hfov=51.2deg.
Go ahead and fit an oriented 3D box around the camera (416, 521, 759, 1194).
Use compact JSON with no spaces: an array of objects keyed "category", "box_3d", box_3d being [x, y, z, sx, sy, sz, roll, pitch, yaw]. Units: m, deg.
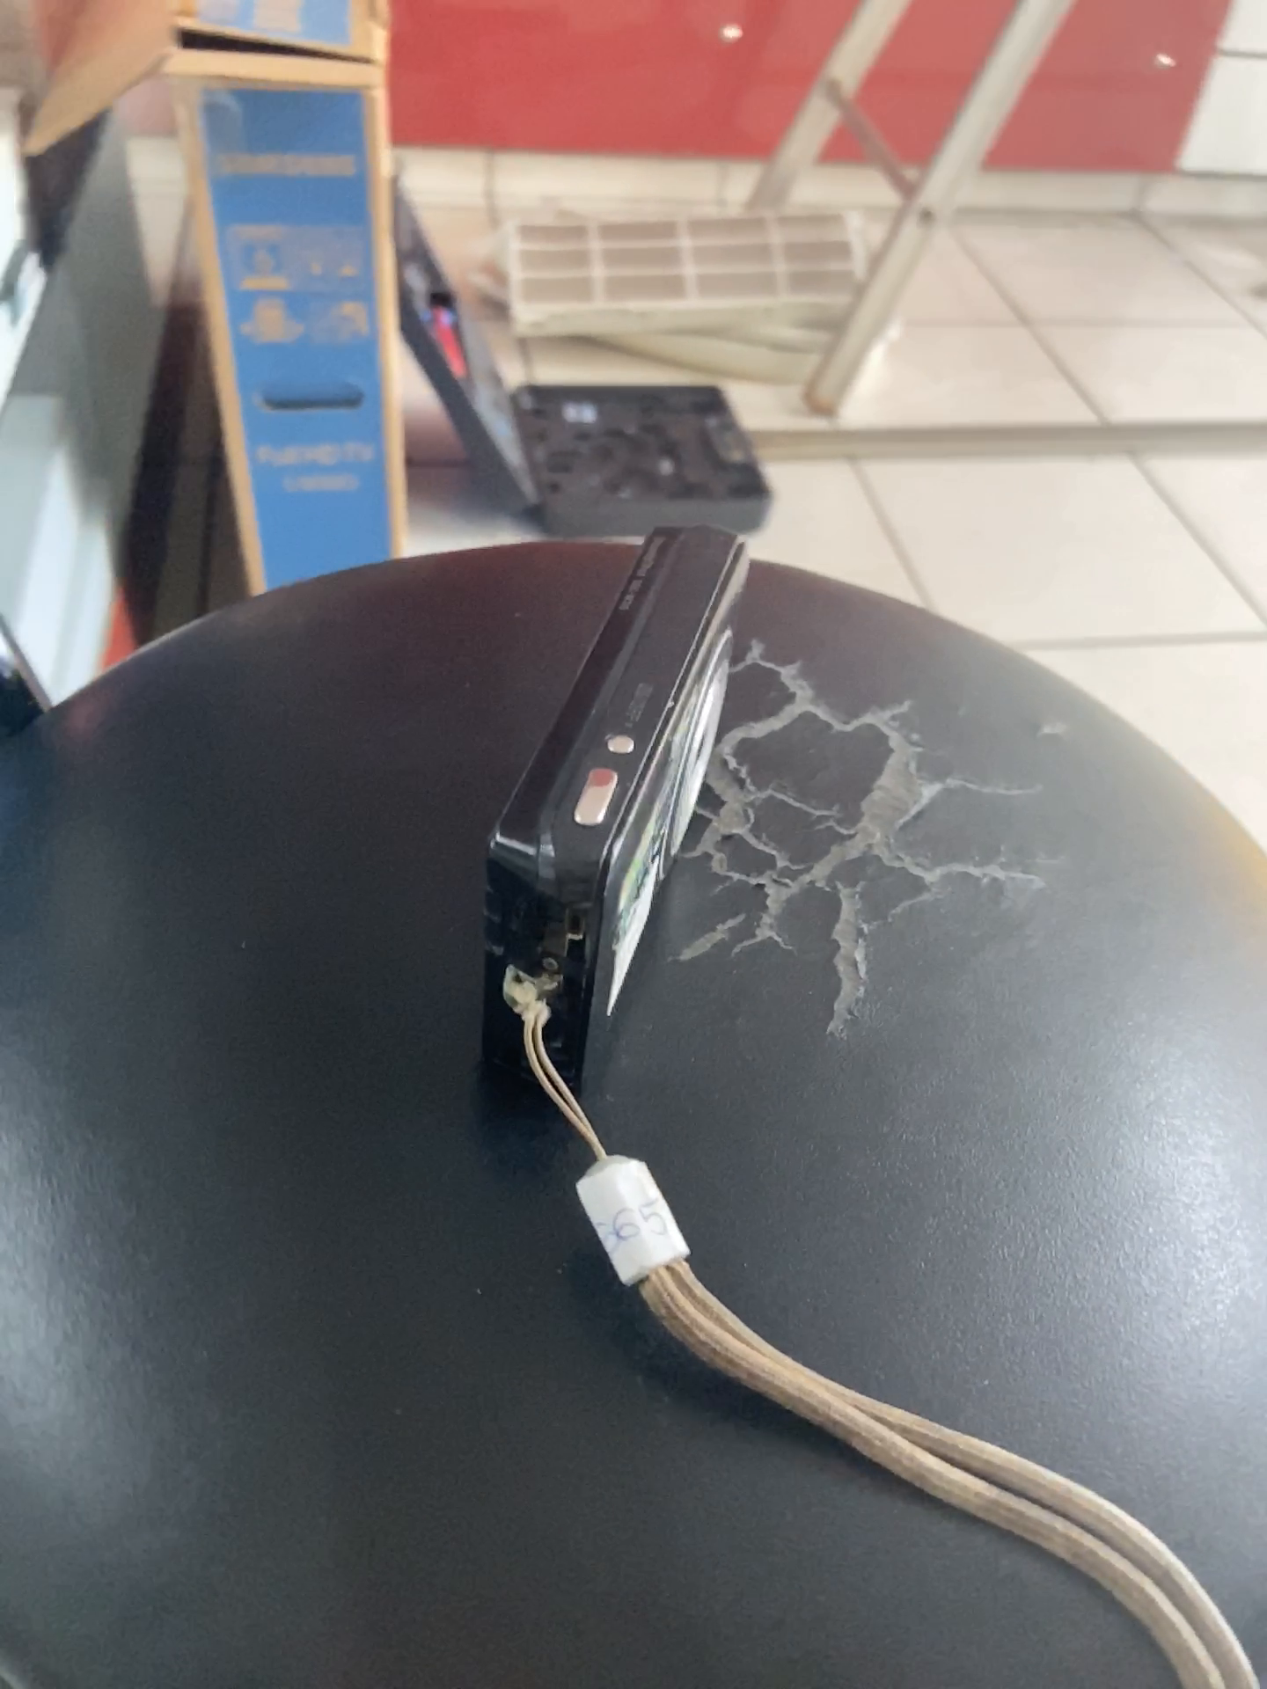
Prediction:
[{"category":"camera","box_3d":[-0.004,-0.004,0.223,0.020,0.050,0.111,15,45,9]}]
